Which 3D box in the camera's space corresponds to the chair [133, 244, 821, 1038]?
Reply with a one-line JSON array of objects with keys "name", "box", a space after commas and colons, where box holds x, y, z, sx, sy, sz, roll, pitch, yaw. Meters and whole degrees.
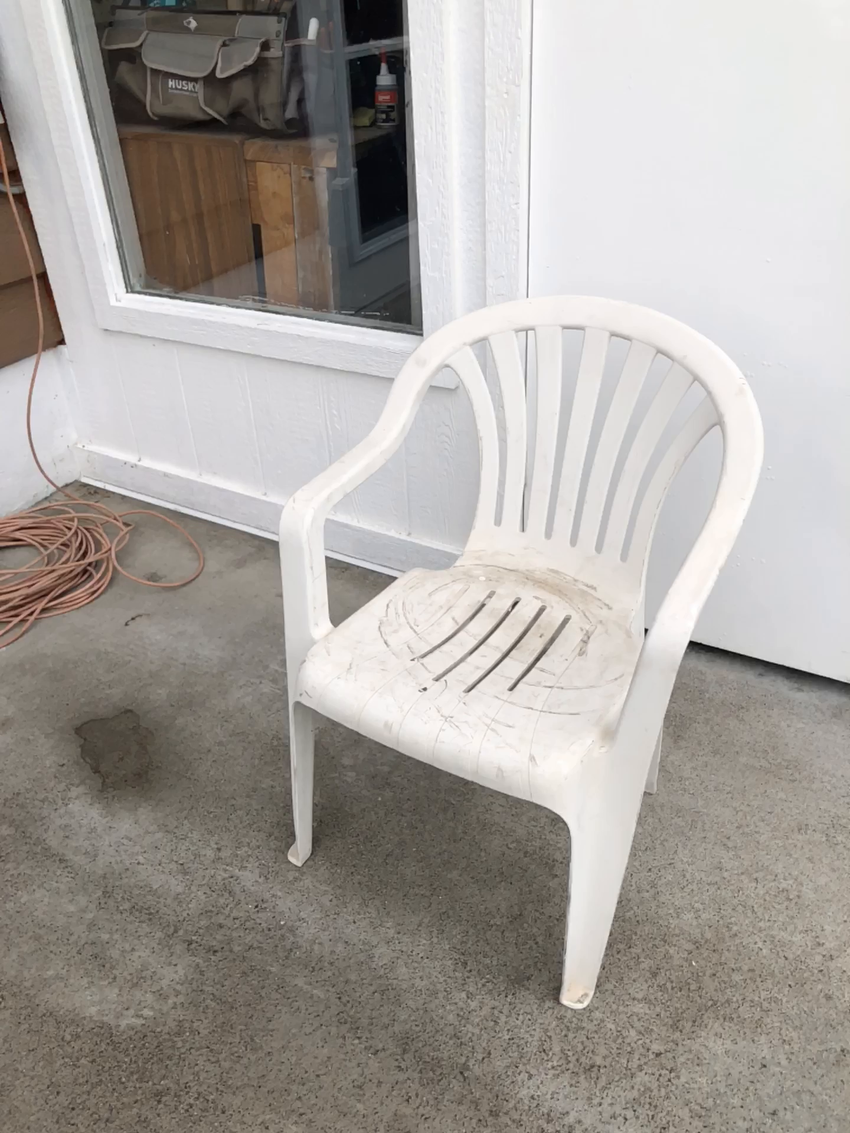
[{"name": "chair", "box": [0.091, 0.054, 1.254, 0.601, 0.777, 0.511, 16, 37, 27]}]
